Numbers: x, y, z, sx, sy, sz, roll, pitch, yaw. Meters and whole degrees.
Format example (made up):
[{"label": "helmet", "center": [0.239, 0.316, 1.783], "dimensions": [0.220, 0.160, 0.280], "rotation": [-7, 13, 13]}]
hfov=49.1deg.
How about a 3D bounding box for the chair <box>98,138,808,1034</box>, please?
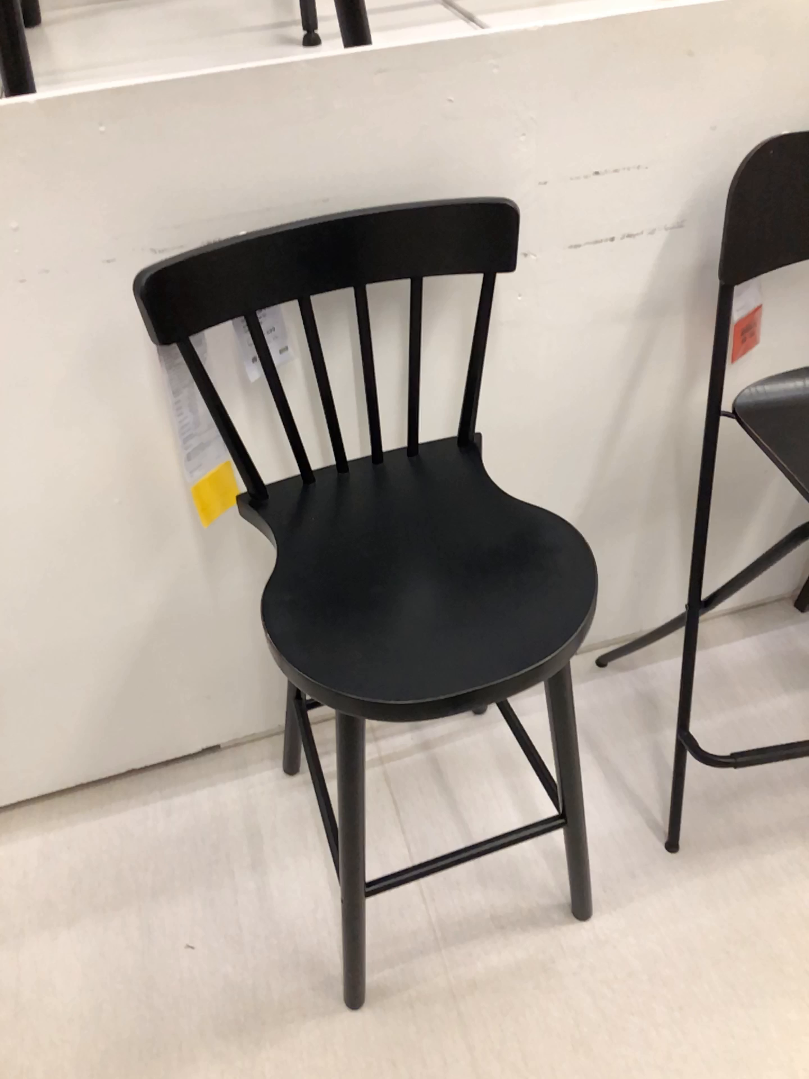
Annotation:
[{"label": "chair", "center": [0.021, 0.095, 1.048], "dimensions": [0.460, 0.874, 0.483], "rotation": [-16, 44, -12]}]
